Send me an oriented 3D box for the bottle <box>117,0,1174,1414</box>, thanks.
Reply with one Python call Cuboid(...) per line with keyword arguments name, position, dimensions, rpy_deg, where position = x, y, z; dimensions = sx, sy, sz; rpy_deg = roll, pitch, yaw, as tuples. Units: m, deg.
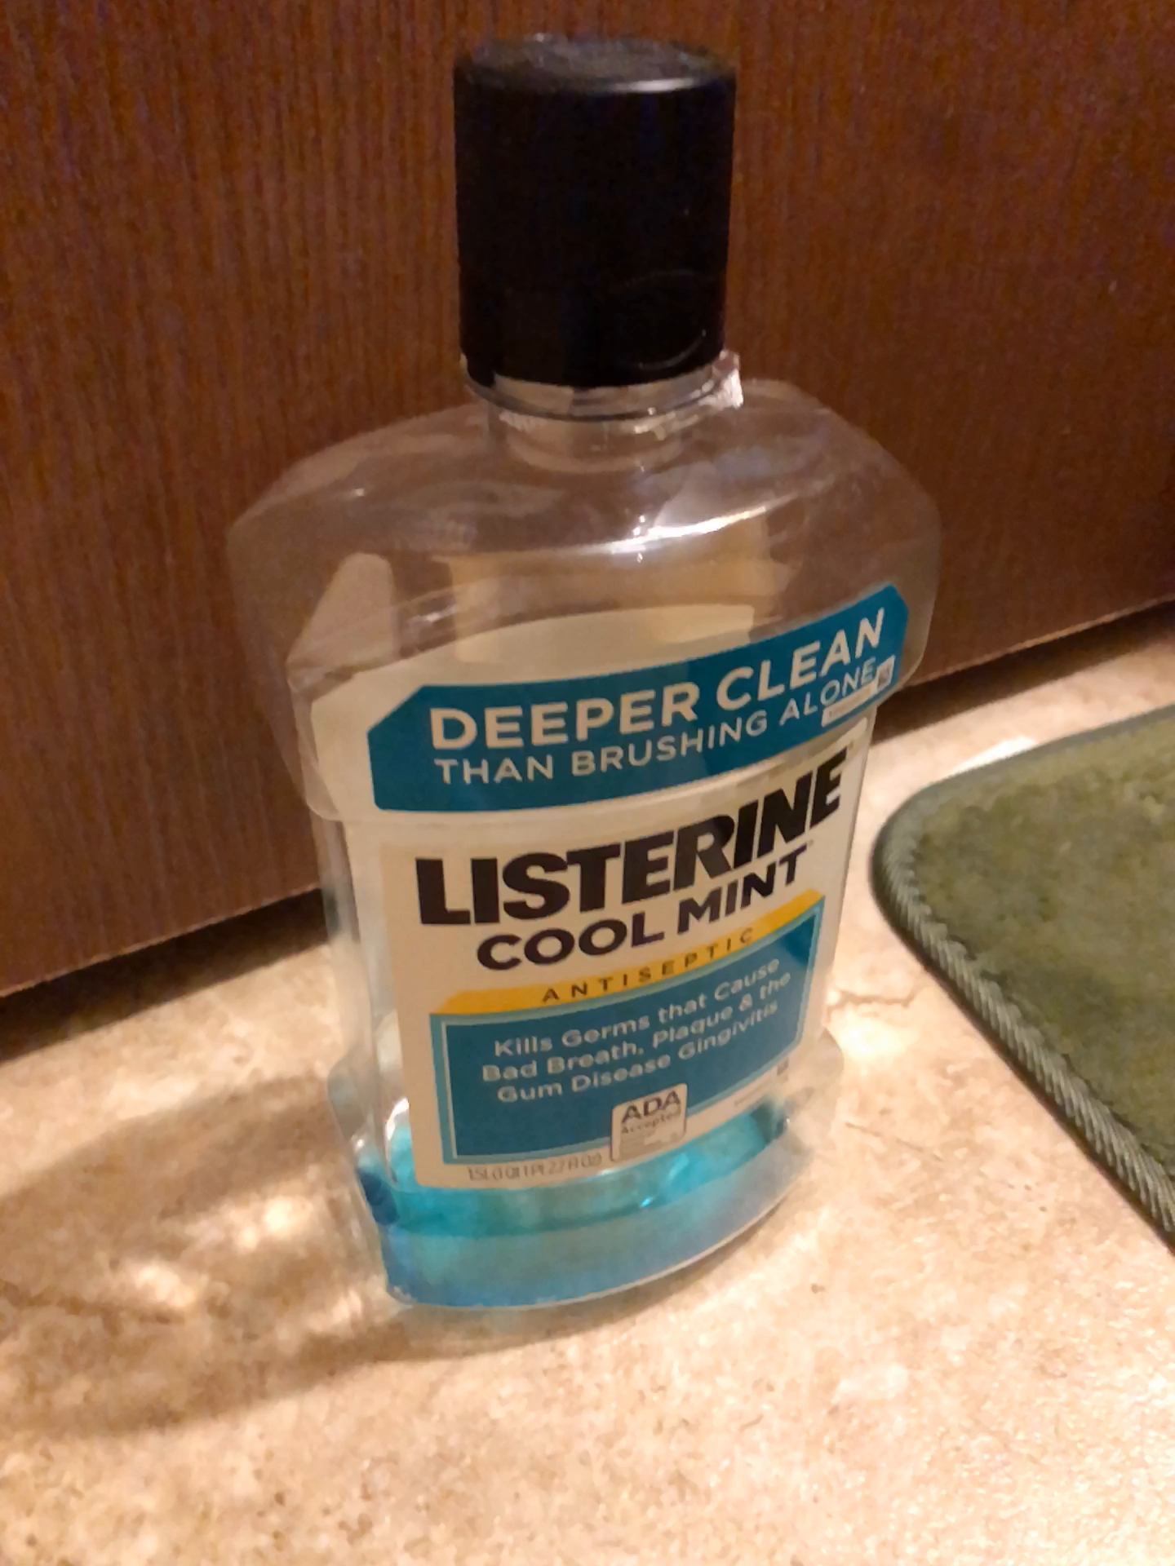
Cuboid(name="bottle", position=(0.011, -0.007, 0.236), dimensions=(0.130, 0.219, 0.090), rpy_deg=(-14, 41, -19))
